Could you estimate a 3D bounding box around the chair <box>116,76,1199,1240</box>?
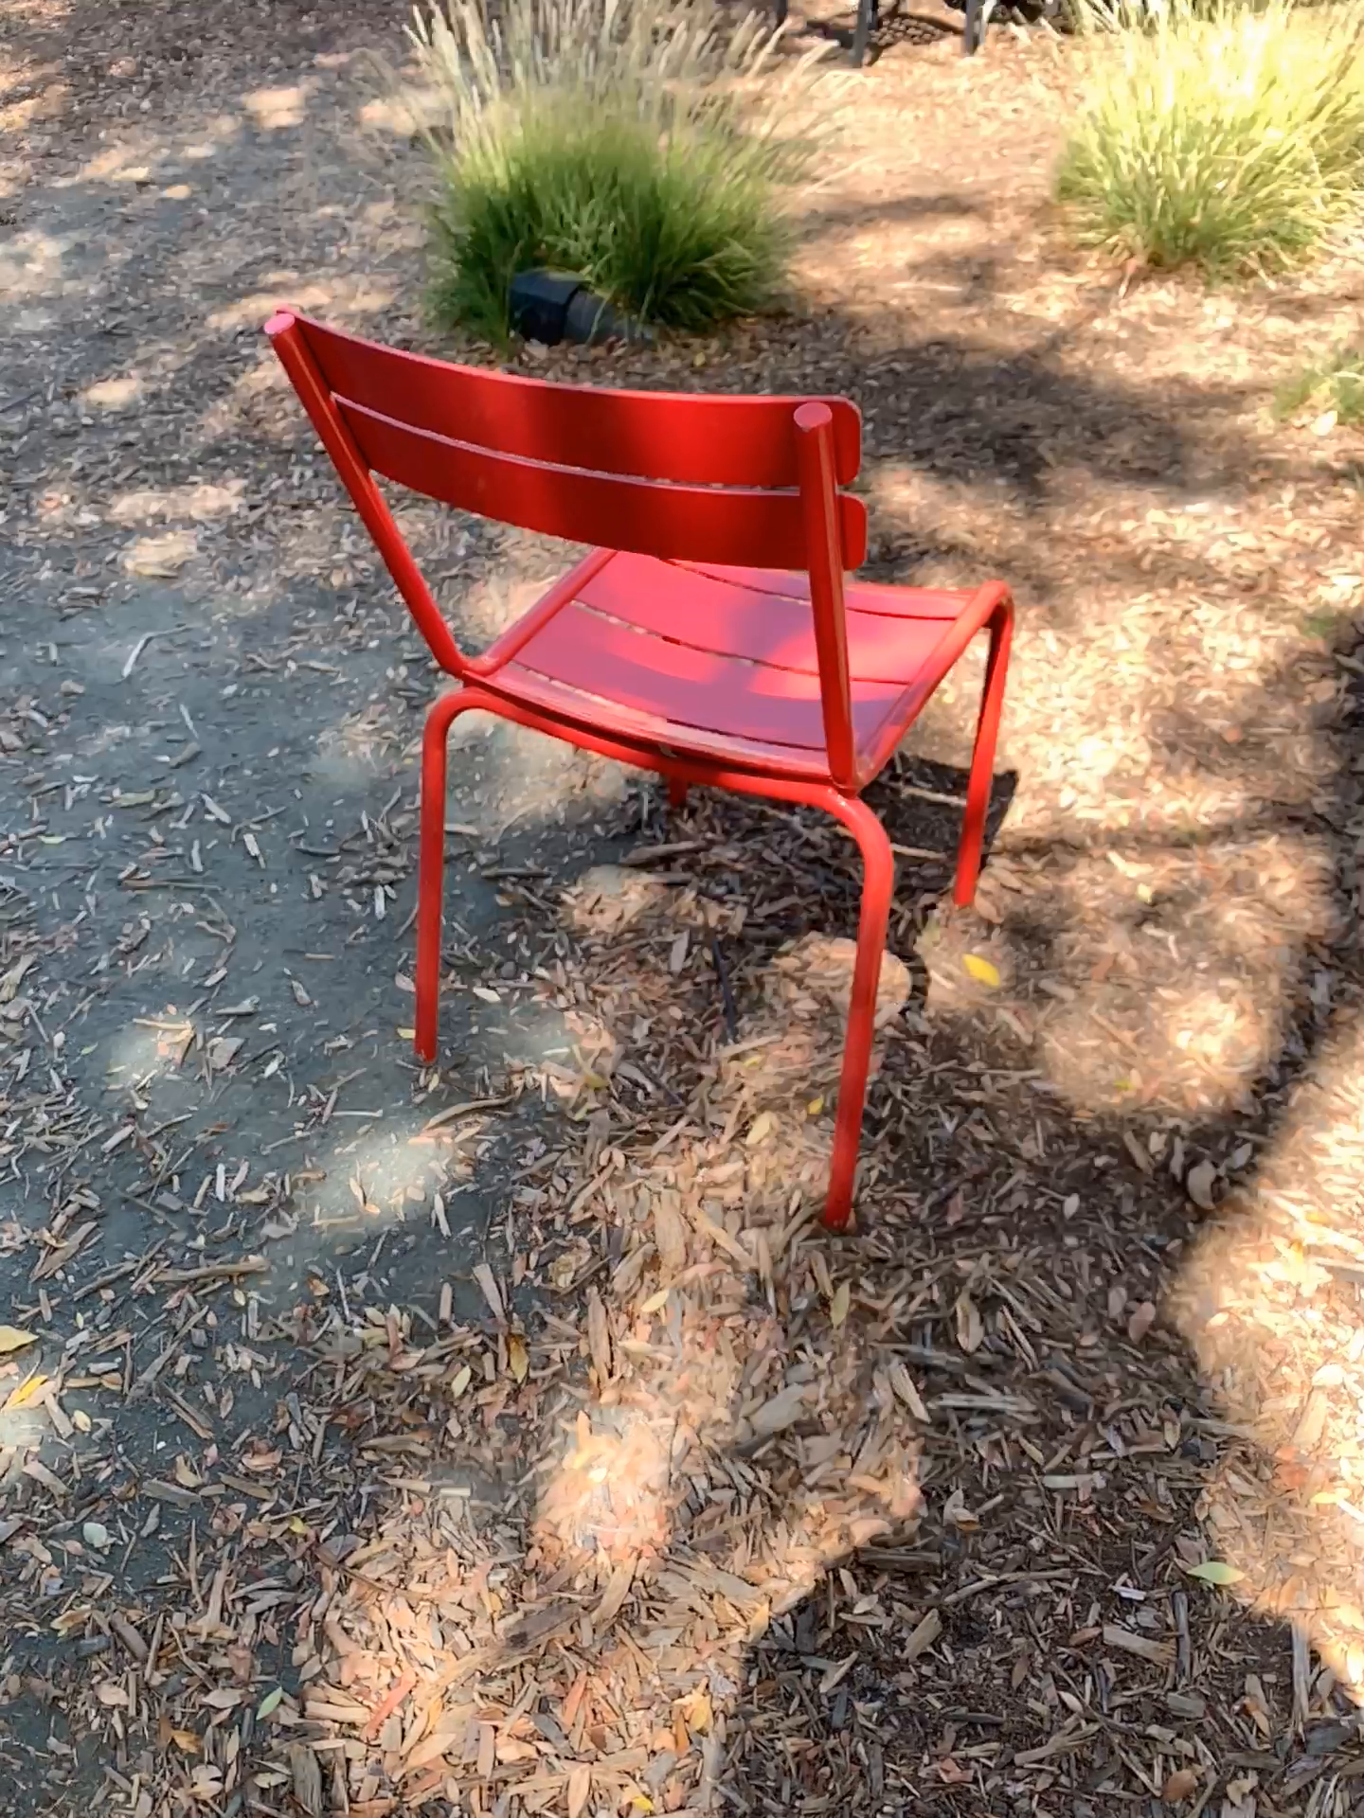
[{"bbox_3d":[0.029,-0.232,1.331,0.611,0.786,0.572,19,52,21],"label":"chair"}]
